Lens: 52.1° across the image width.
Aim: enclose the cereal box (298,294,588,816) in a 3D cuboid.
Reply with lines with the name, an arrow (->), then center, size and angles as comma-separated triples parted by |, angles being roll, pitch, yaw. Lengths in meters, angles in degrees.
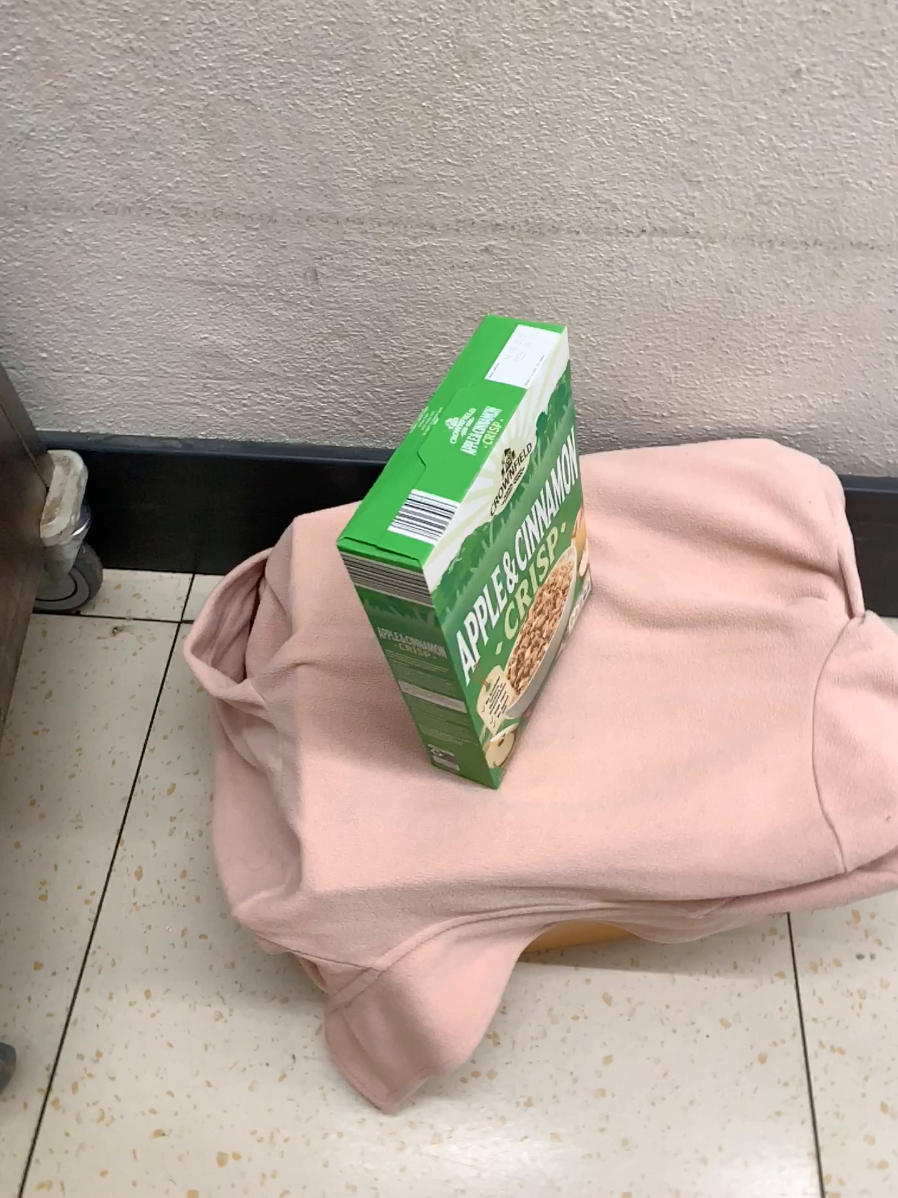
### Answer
cereal box -> 0.018, -0.014, 0.559 | 0.060, 0.258, 0.191 | 17, 59, 22
